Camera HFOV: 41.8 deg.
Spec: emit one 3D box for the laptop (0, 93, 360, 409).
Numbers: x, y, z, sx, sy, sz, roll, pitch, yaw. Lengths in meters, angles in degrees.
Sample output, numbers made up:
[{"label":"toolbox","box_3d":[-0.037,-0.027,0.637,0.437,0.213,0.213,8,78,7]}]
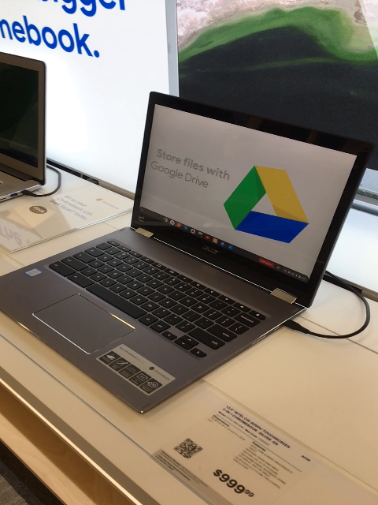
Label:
[{"label":"laptop","box_3d":[-0.052,-0.029,0.568,0.299,0.202,0.291,30,47,34]}]
